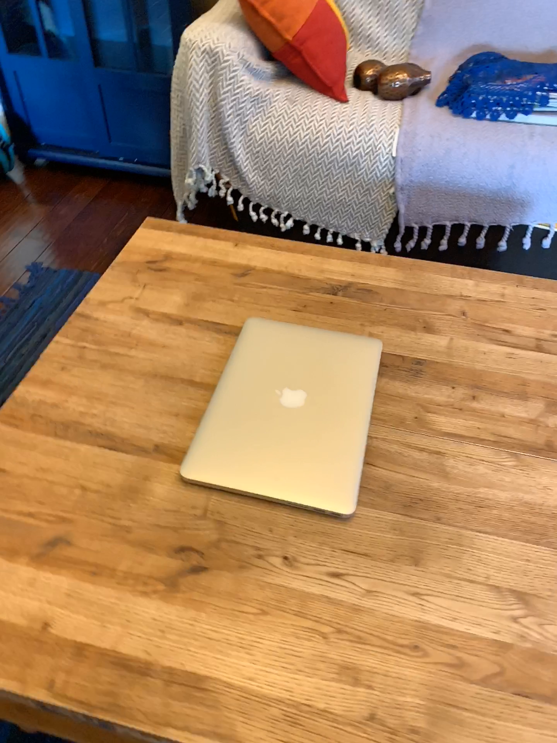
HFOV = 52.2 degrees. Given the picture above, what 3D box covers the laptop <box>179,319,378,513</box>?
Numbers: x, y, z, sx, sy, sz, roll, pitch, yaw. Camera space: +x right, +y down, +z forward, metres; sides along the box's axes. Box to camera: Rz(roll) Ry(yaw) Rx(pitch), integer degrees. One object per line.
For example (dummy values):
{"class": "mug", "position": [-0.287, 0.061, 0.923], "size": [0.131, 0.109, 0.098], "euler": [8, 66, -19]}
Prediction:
{"class": "laptop", "position": [0.015, 0.040, 0.777], "size": [0.208, 0.002, 0.299], "euler": [10, 46, 9]}
